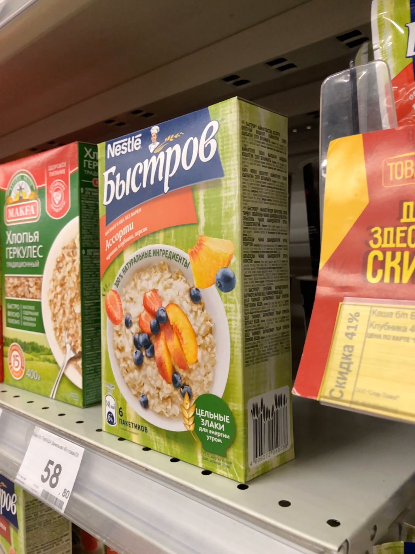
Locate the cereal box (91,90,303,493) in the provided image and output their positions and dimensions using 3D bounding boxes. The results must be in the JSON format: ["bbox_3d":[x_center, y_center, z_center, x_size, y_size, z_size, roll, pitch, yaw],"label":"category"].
[{"bbox_3d":[-0.012,0.007,0.292,0.130,0.200,0.050,-1,1,43],"label":"cereal box"}]
